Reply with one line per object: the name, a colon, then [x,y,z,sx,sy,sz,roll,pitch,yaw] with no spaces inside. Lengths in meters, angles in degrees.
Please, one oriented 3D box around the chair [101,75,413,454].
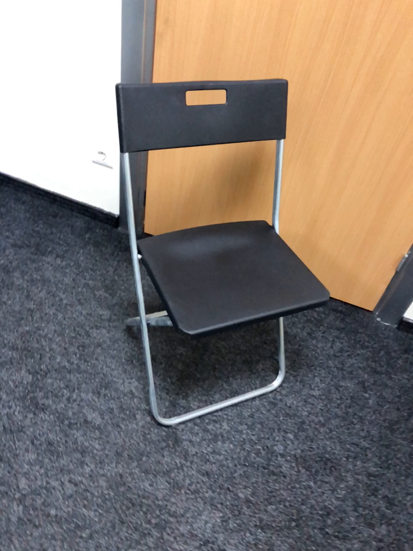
chair: [0.045,-0.023,1.109,0.481,0.725,0.482,-11,48,-22]
